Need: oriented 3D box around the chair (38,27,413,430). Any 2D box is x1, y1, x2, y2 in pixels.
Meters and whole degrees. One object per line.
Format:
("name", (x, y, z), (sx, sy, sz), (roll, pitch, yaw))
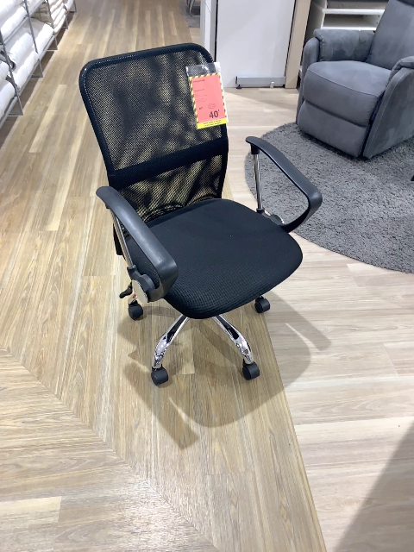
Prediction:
("chair", (0.016, -0.157, 1.271), (0.641, 0.865, 0.603), (-25, 49, -27))
